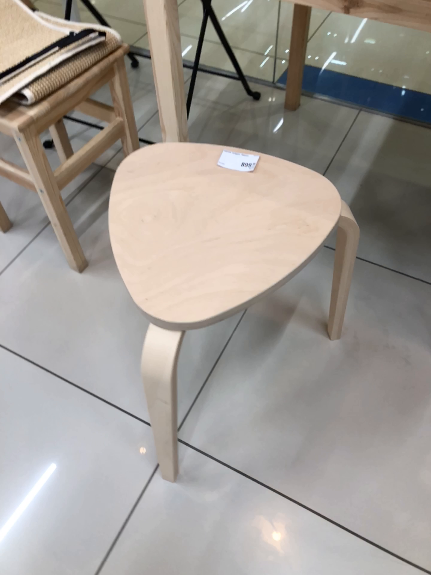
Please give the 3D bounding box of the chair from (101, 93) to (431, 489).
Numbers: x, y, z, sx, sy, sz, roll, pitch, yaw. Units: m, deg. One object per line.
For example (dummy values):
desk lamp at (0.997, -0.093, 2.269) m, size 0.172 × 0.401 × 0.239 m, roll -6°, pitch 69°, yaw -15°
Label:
chair at (0.063, 0.019, 0.873) m, size 0.430 × 0.467 × 0.493 m, roll -9°, pitch 54°, yaw -4°
